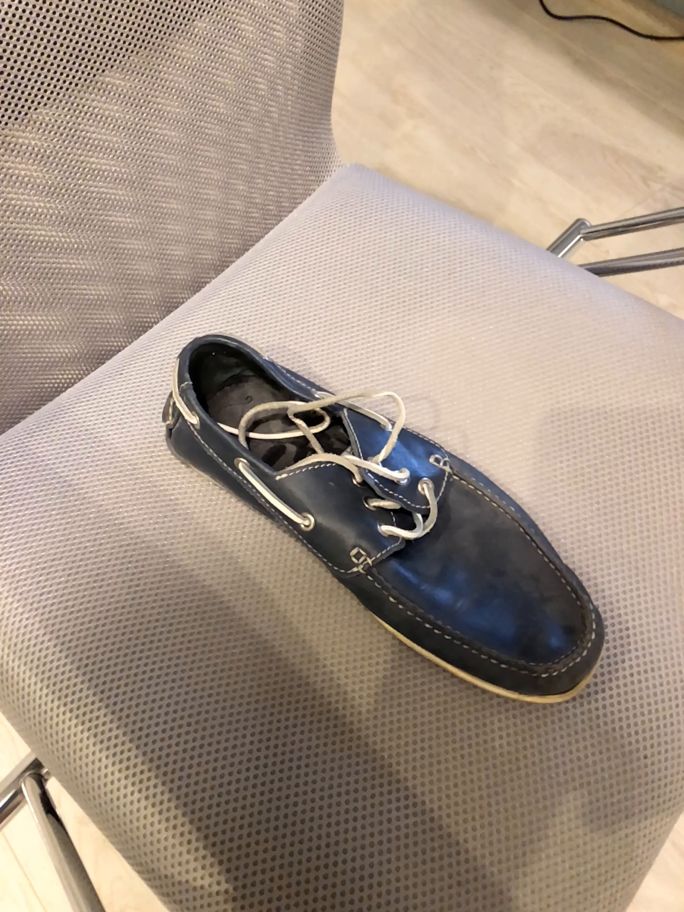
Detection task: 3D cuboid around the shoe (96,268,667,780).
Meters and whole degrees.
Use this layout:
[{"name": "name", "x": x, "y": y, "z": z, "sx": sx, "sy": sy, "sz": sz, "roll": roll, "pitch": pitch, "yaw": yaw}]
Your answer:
[{"name": "shoe", "x": 0.012, "y": 0.031, "z": 0.438, "sx": 0.290, "sy": 0.100, "sz": 0.120, "roll": 37, "pitch": 66, "yaw": 18}]
